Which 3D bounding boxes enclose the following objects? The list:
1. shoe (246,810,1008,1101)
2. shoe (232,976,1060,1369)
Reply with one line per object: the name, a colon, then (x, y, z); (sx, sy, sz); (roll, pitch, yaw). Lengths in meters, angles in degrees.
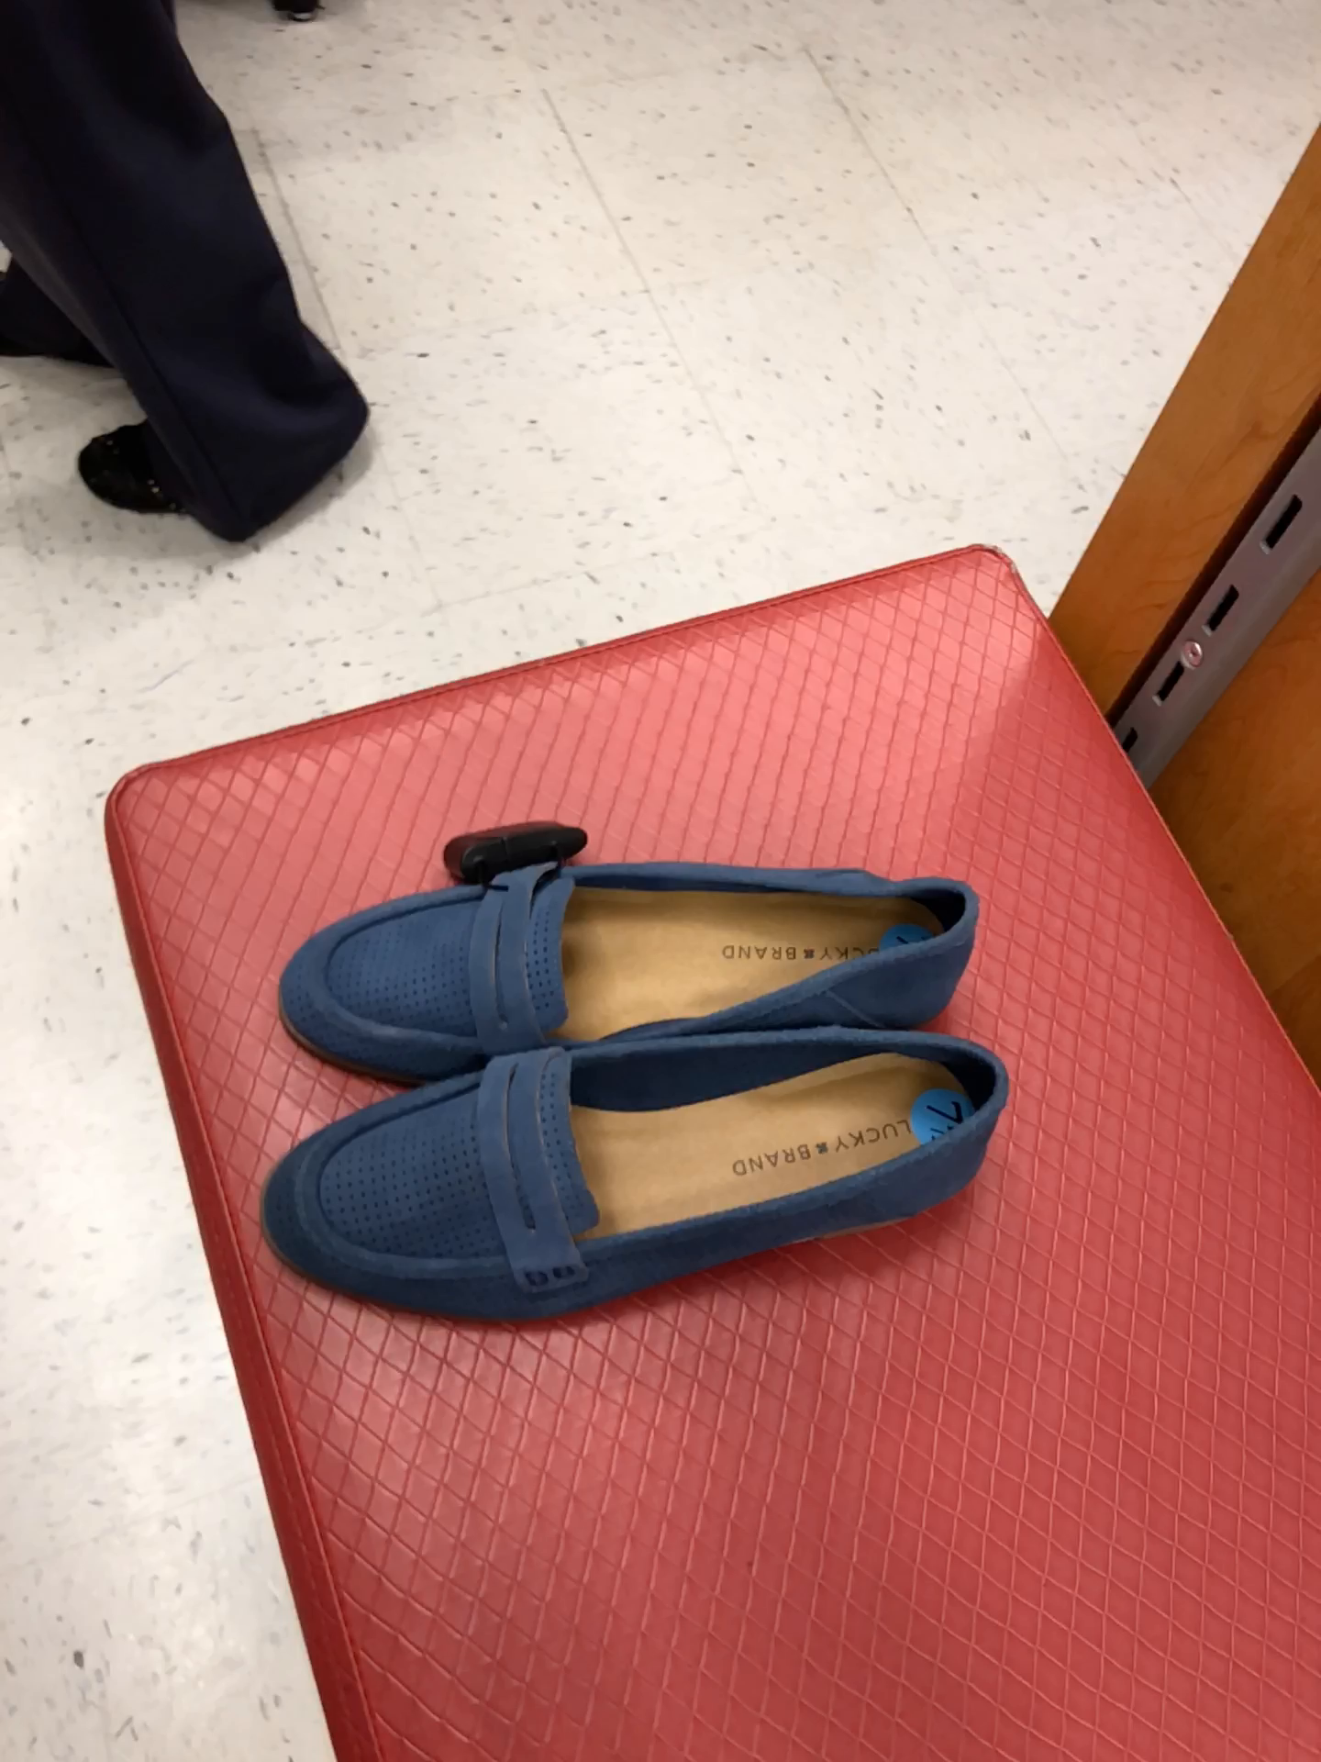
shoe: (-0.013, 0.029, 0.533); (0.253, 0.069, 0.082); (1, 63, -6)
shoe: (-0.008, 0.099, 0.501); (0.258, 0.069, 0.085); (-6, 64, -9)
